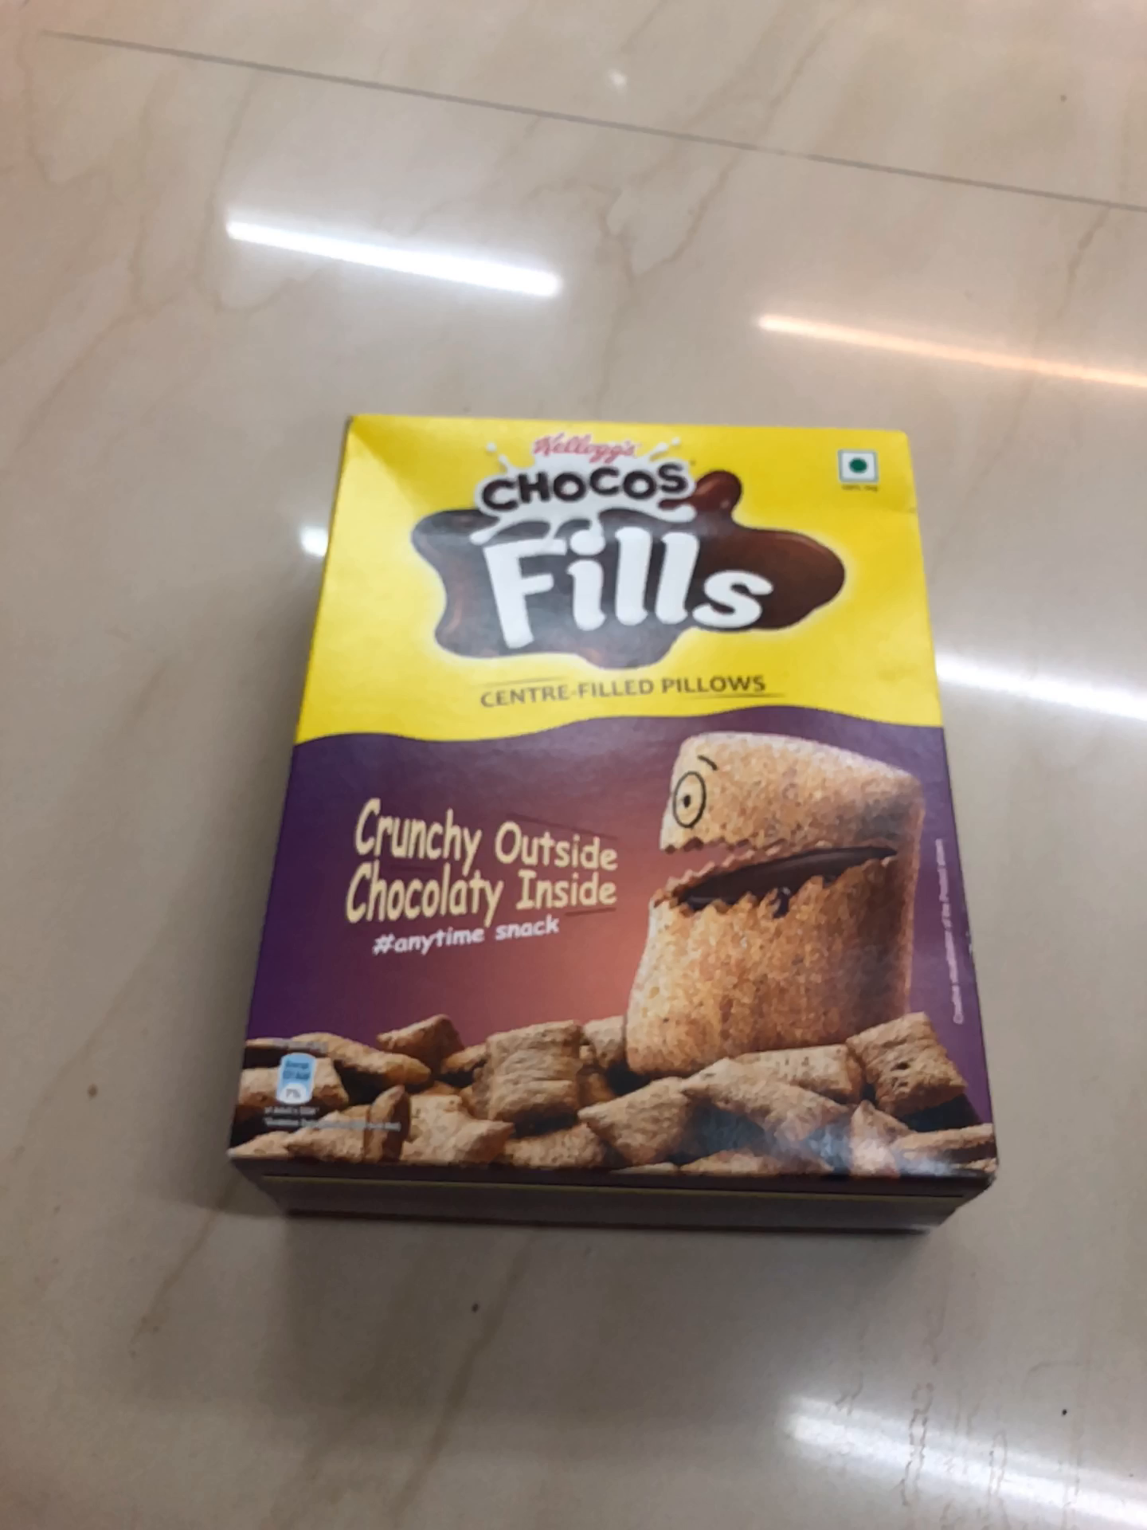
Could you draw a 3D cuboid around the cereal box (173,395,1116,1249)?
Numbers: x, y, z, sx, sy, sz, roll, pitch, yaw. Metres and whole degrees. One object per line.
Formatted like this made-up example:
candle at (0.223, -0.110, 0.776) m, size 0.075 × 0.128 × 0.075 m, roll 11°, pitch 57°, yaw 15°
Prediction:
cereal box at (0.017, 0.006, 0.363) m, size 0.200 × 0.070 × 0.231 m, roll 2°, pitch 58°, yaw 0°
